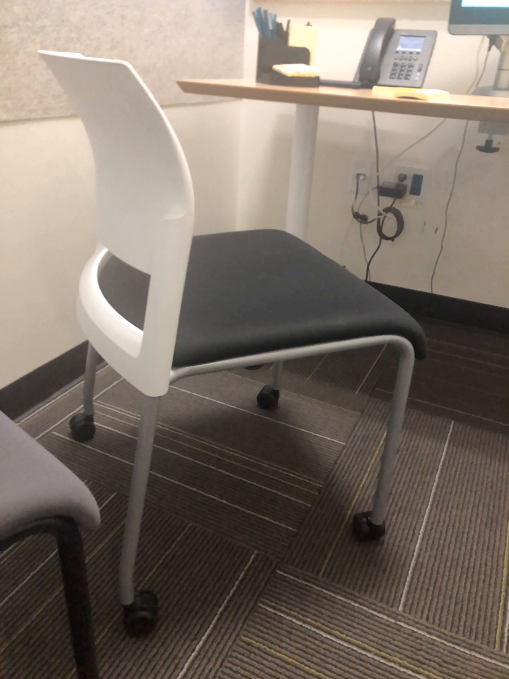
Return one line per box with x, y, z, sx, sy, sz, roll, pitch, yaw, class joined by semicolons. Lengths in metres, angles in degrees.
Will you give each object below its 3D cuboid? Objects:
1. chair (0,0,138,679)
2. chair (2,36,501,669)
-0.602;0.182;0.589;0.701;0.933;0.654;24;30;37;chair
-0.113;-0.054;1.199;0.652;0.963;0.703;-7;27;-28;chair
